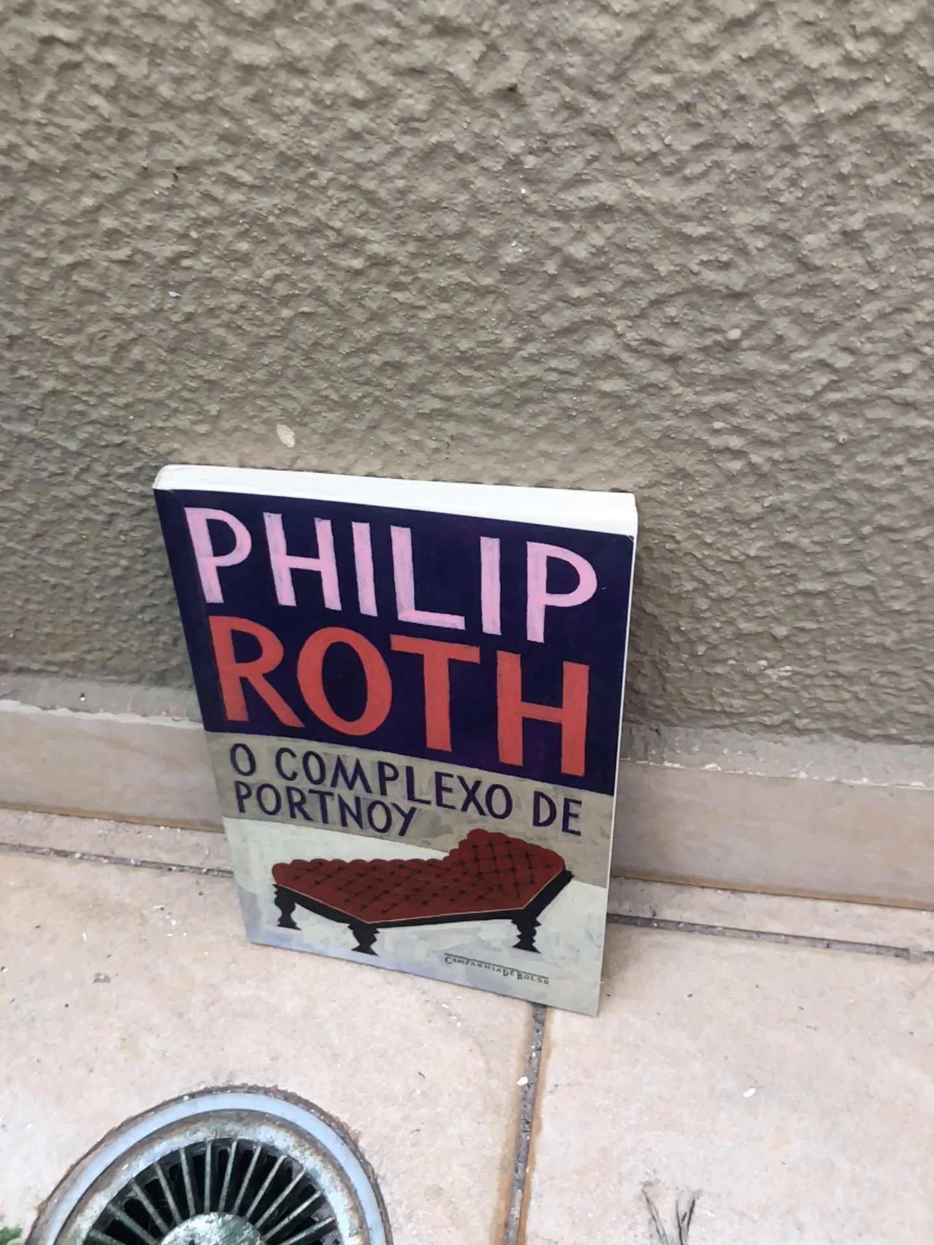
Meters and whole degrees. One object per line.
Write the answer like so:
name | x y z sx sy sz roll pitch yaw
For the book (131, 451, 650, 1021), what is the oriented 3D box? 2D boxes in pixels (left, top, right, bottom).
book | -0.017 0.041 0.306 0.126 0.178 0.023 7 37 13
